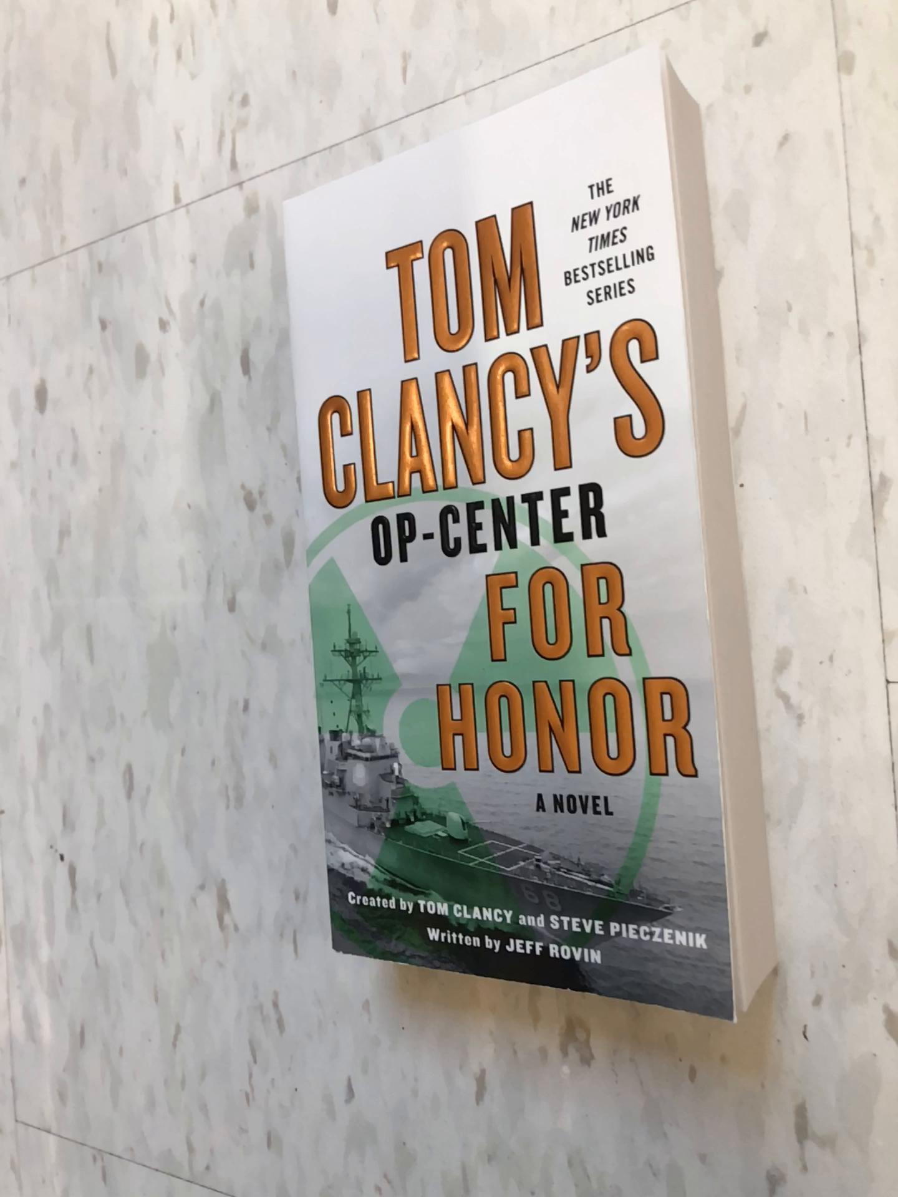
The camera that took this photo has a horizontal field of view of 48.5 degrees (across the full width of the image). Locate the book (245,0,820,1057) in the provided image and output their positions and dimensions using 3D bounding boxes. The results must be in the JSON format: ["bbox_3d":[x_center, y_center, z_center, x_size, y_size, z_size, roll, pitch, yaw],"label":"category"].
[{"bbox_3d":[0.016,-0.011,0.237,0.110,0.050,0.200,-6,87,33],"label":"book"}]
